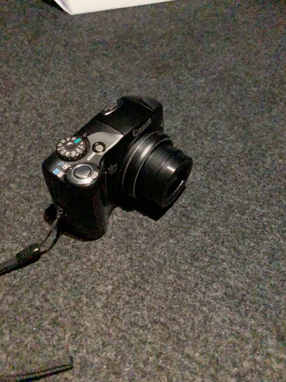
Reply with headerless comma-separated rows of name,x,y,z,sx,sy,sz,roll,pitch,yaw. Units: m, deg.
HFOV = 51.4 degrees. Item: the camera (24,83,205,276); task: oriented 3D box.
camera,-0.015,-0.012,0.231,0.070,0.079,0.108,29,56,21
